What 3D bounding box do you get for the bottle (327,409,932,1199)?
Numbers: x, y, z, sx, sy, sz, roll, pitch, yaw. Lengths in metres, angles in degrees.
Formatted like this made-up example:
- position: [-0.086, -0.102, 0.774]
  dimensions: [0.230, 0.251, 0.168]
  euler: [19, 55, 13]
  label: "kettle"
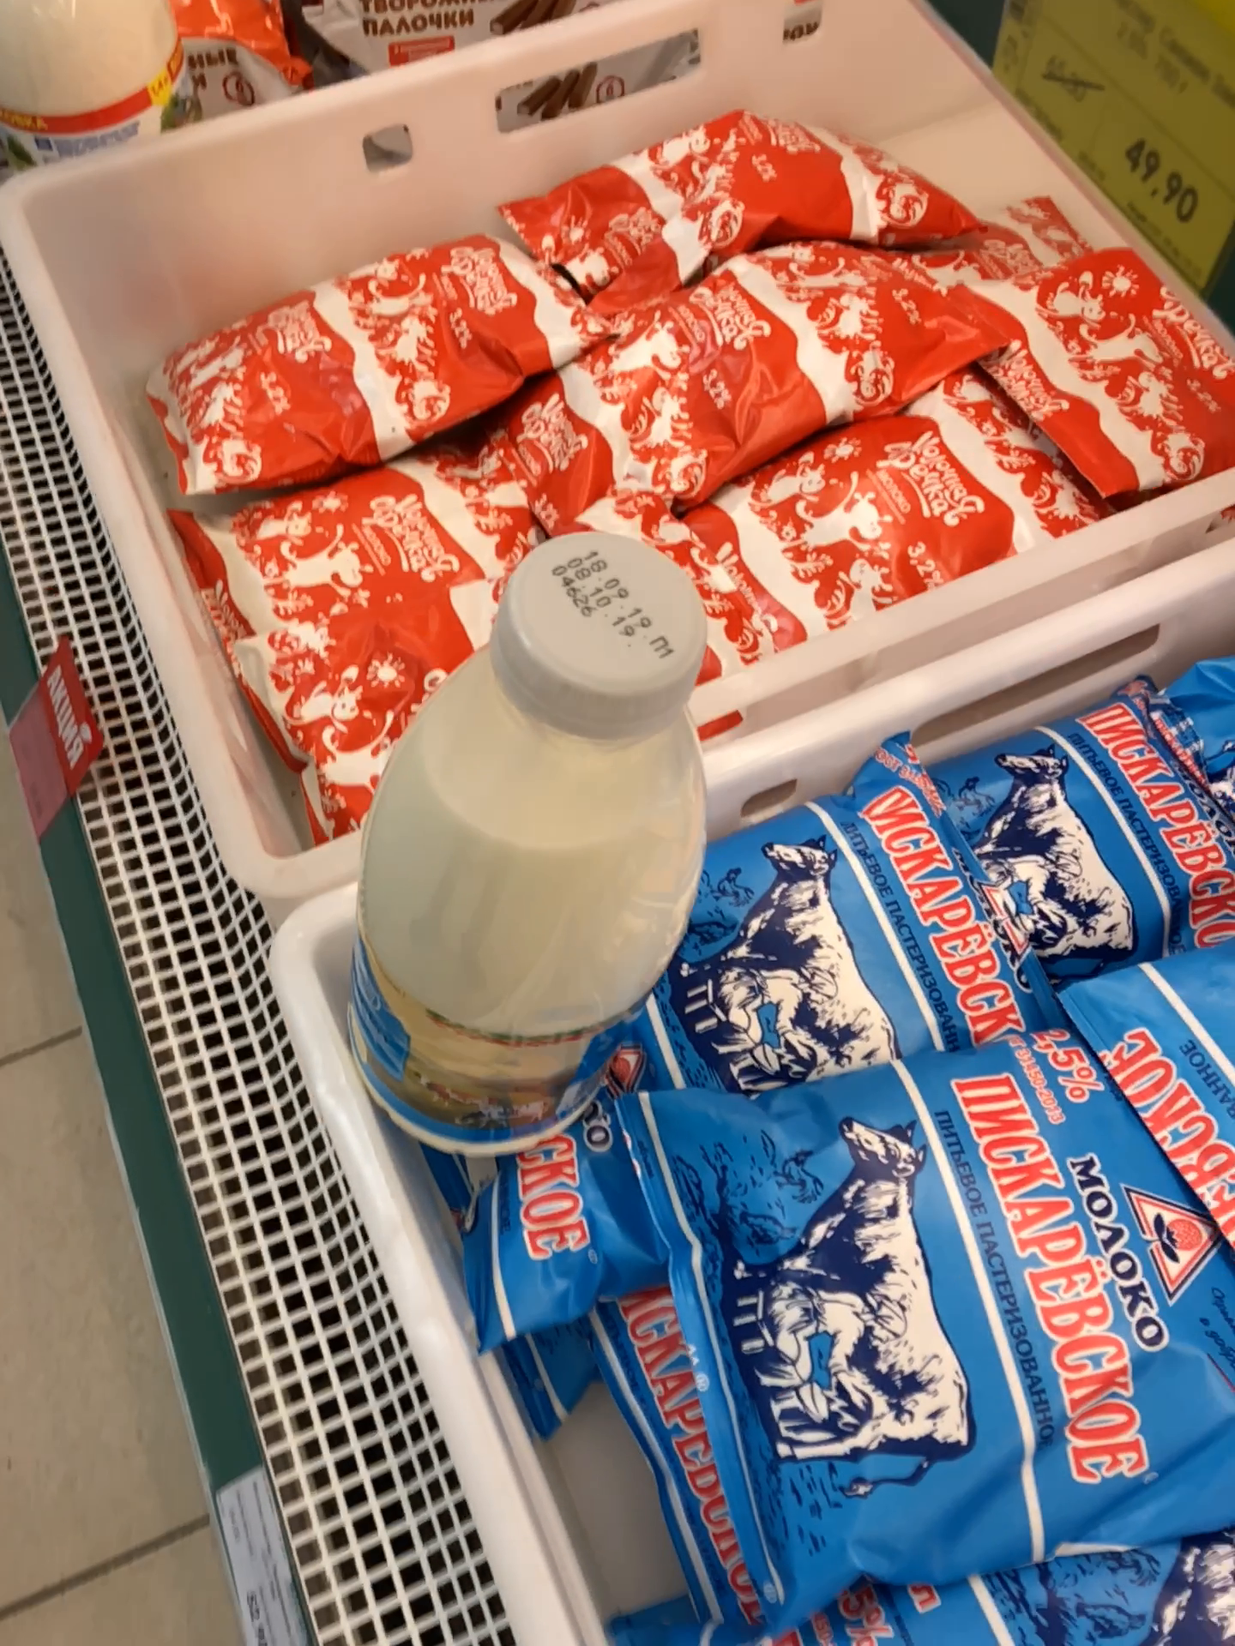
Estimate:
- position: [-0.019, 0.012, 0.364]
  dimensions: [0.090, 0.229, 0.090]
  euler: [7, 57, -10]
  label: "bottle"
